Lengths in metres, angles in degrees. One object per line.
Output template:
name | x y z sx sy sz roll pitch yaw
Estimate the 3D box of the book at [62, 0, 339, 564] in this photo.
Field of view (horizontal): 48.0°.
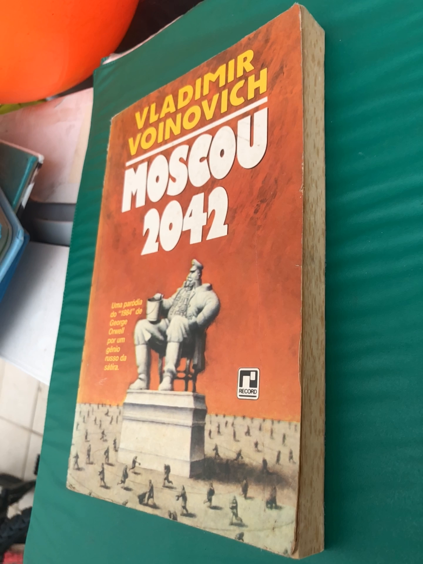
book | -0.010 -0.006 0.214 0.132 0.020 0.203 -9 71 41
